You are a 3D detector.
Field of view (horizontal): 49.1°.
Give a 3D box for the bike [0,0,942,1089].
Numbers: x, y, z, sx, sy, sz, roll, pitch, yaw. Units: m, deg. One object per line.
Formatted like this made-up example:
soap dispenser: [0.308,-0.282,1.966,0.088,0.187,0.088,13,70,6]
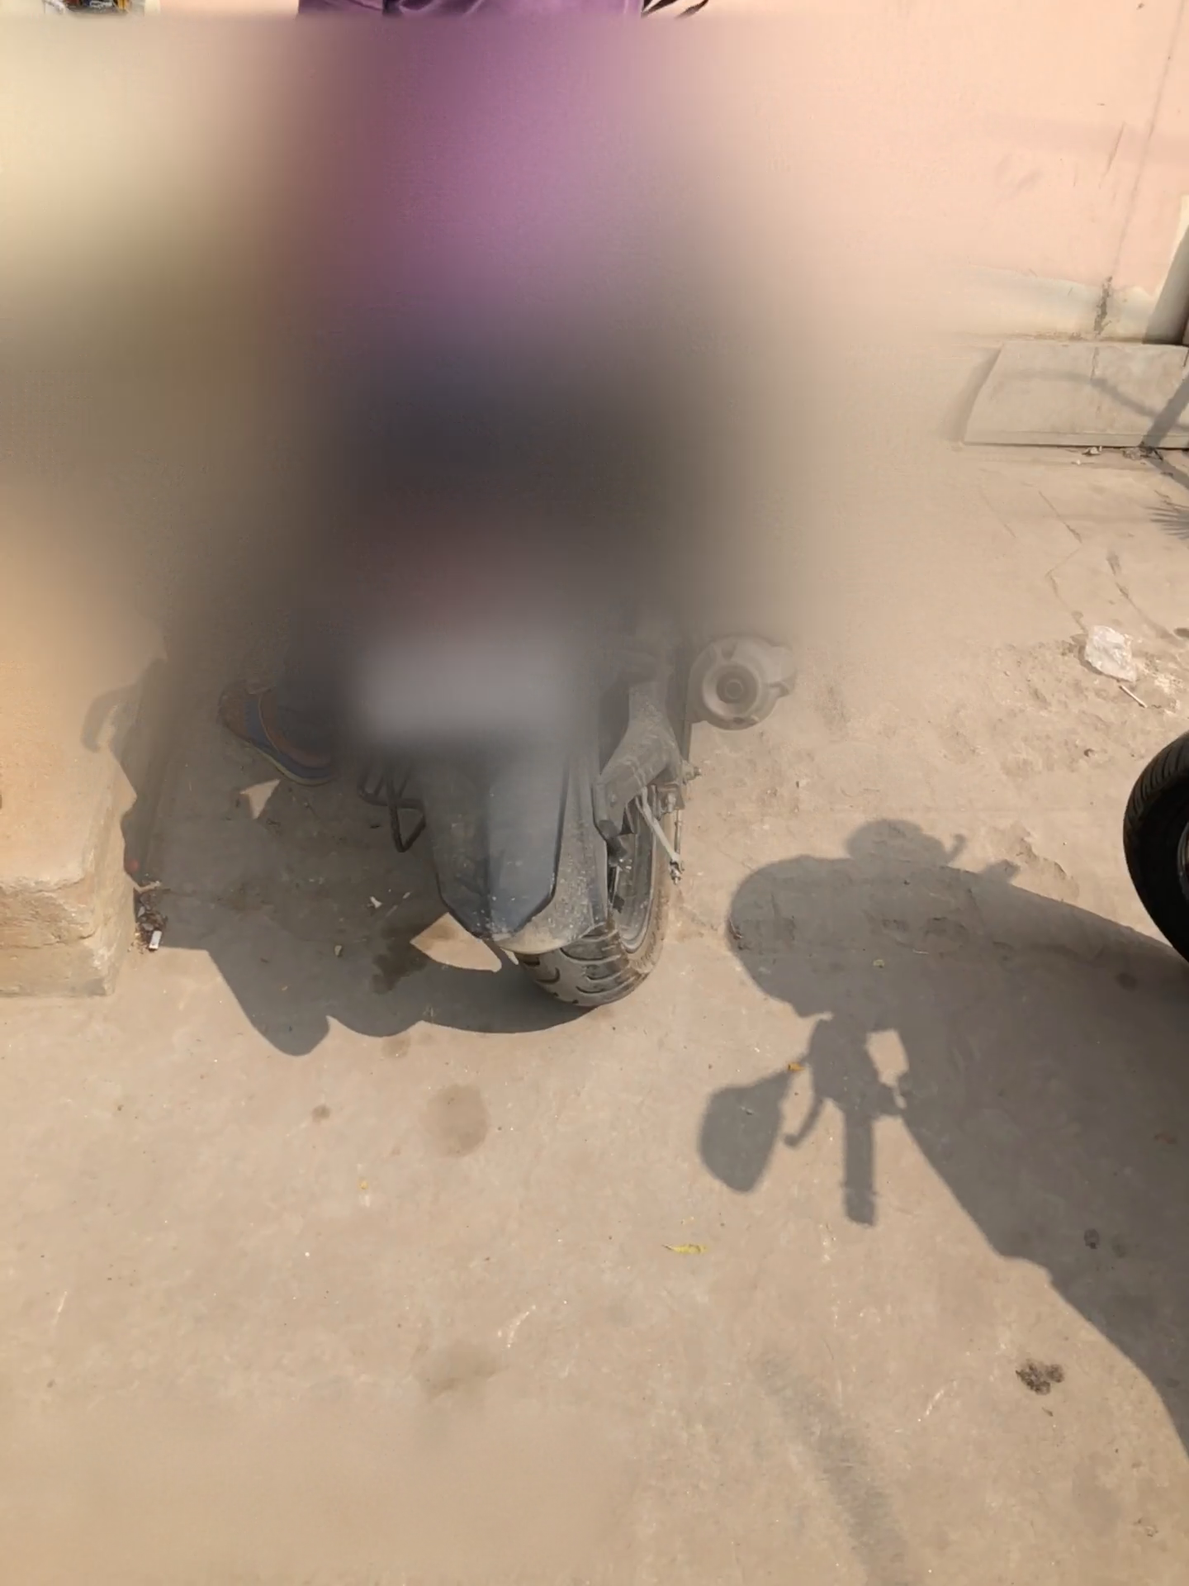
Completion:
bike: [-0.194,-0.795,2.003,0.808,1.222,1.837,3,40,-2]
